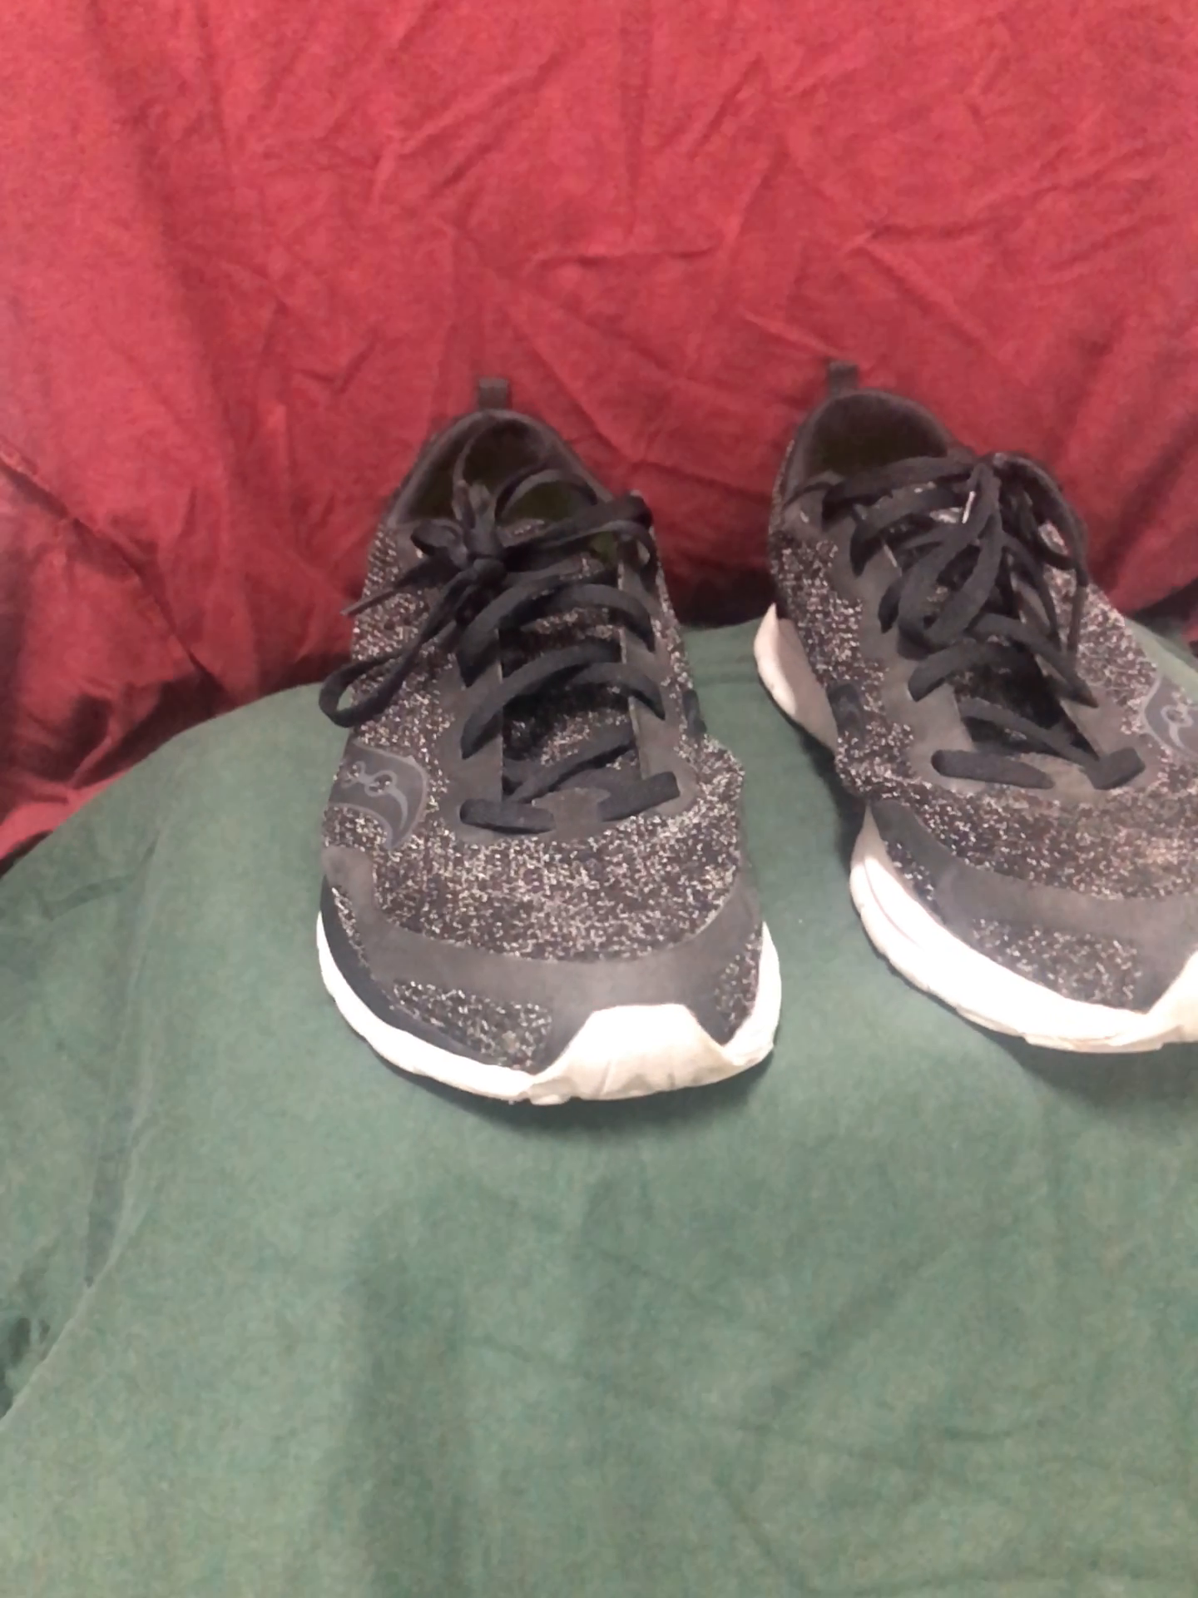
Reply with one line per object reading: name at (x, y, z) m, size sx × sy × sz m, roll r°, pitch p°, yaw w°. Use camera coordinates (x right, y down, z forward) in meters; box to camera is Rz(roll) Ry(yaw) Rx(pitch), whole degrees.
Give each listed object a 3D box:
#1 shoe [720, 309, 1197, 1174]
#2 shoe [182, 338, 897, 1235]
shoe at (0.118, -0.043, 0.355) m, size 0.120 × 0.099 × 0.262 m, roll -8°, pitch 33°, yaw -2°
shoe at (-0.023, -0.034, 0.360) m, size 0.120 × 0.099 × 0.272 m, roll -8°, pitch 33°, yaw -4°
